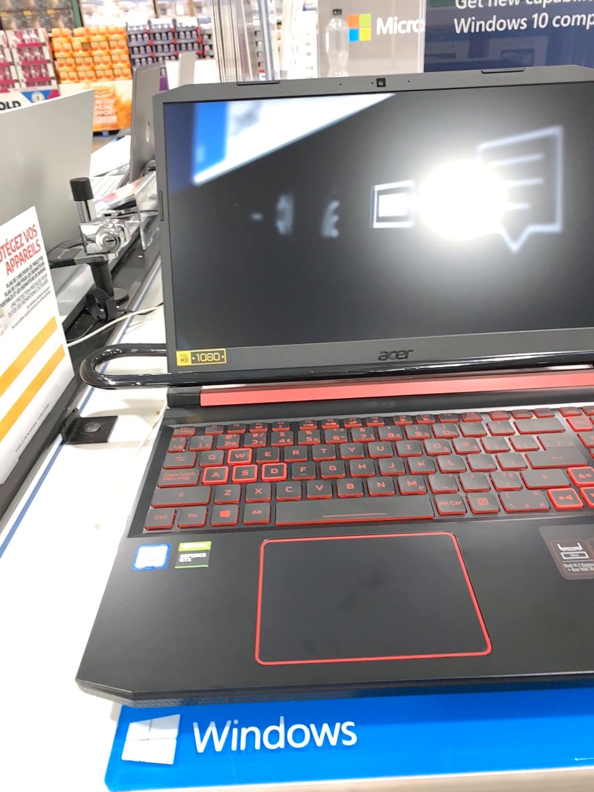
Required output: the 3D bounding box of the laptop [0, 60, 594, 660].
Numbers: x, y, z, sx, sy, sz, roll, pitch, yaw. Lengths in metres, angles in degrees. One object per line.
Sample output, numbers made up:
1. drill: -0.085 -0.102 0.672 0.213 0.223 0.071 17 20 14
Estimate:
1. laptop: 0.068 -0.072 0.380 0.358 0.198 0.381 -3 32 2
